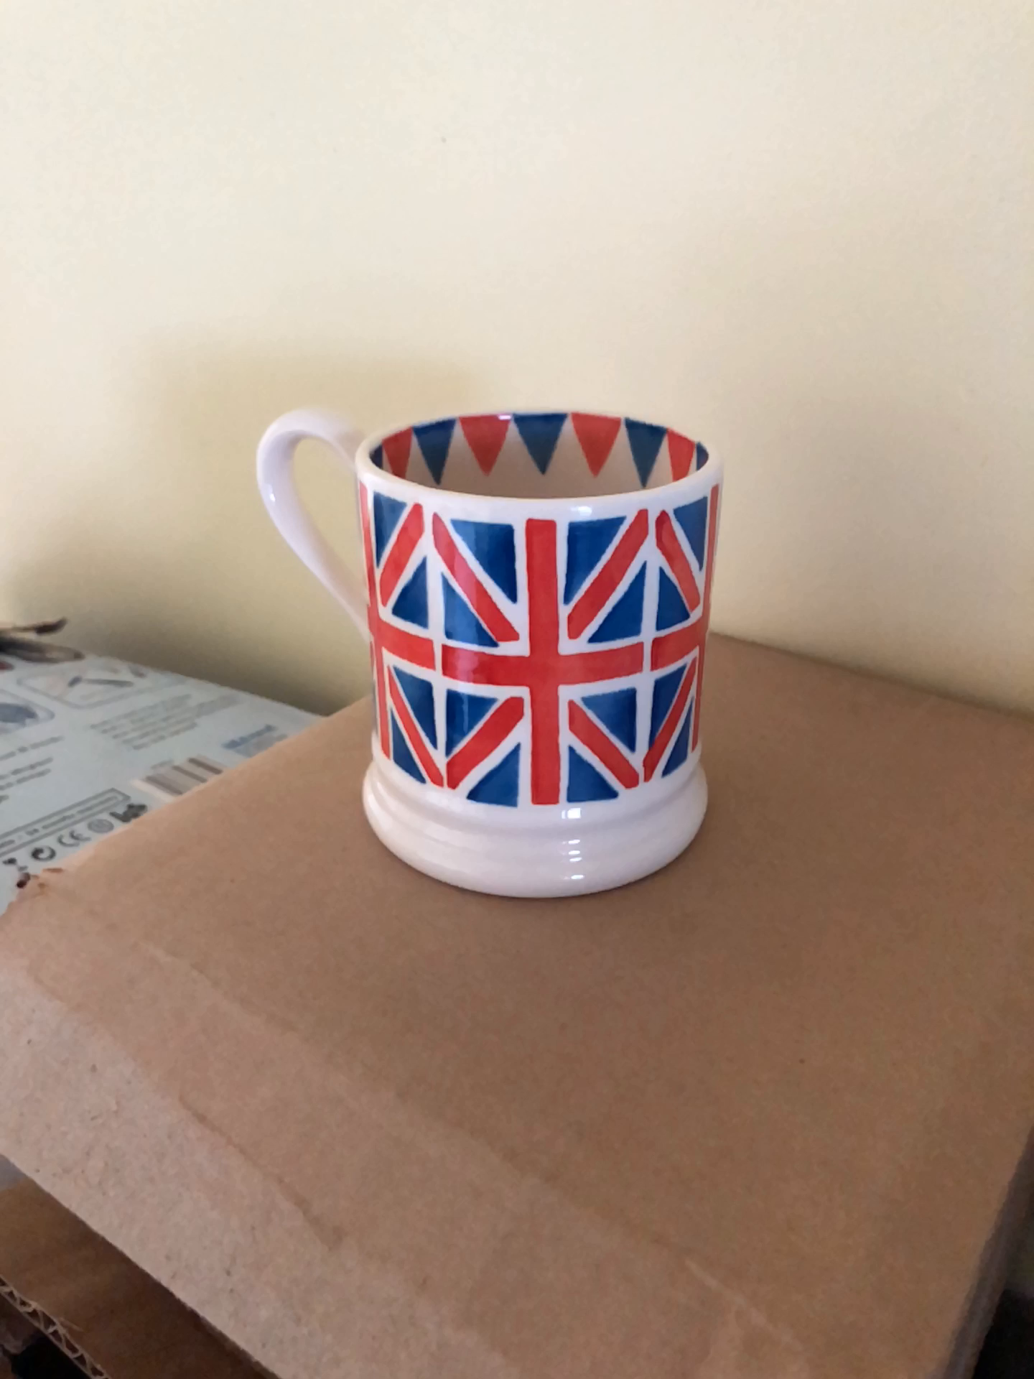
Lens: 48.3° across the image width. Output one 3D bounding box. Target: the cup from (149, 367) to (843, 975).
[{"bbox_3d":[-0.003,-0.018,0.293,0.130,0.100,0.101,16,30,34],"label":"cup"}]
